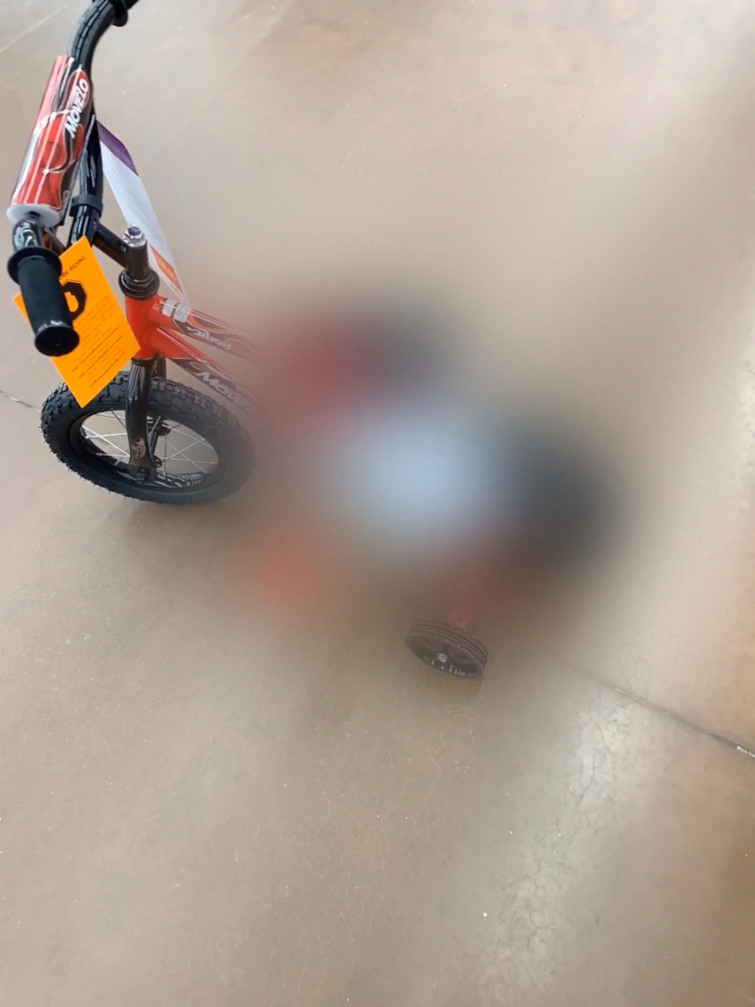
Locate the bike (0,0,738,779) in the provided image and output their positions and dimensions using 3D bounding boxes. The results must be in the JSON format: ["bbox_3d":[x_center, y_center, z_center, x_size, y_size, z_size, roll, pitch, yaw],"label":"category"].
[{"bbox_3d":[-0.107,-0.118,0.742,0.704,0.627,0.458,10,58,9],"label":"bike"}]
